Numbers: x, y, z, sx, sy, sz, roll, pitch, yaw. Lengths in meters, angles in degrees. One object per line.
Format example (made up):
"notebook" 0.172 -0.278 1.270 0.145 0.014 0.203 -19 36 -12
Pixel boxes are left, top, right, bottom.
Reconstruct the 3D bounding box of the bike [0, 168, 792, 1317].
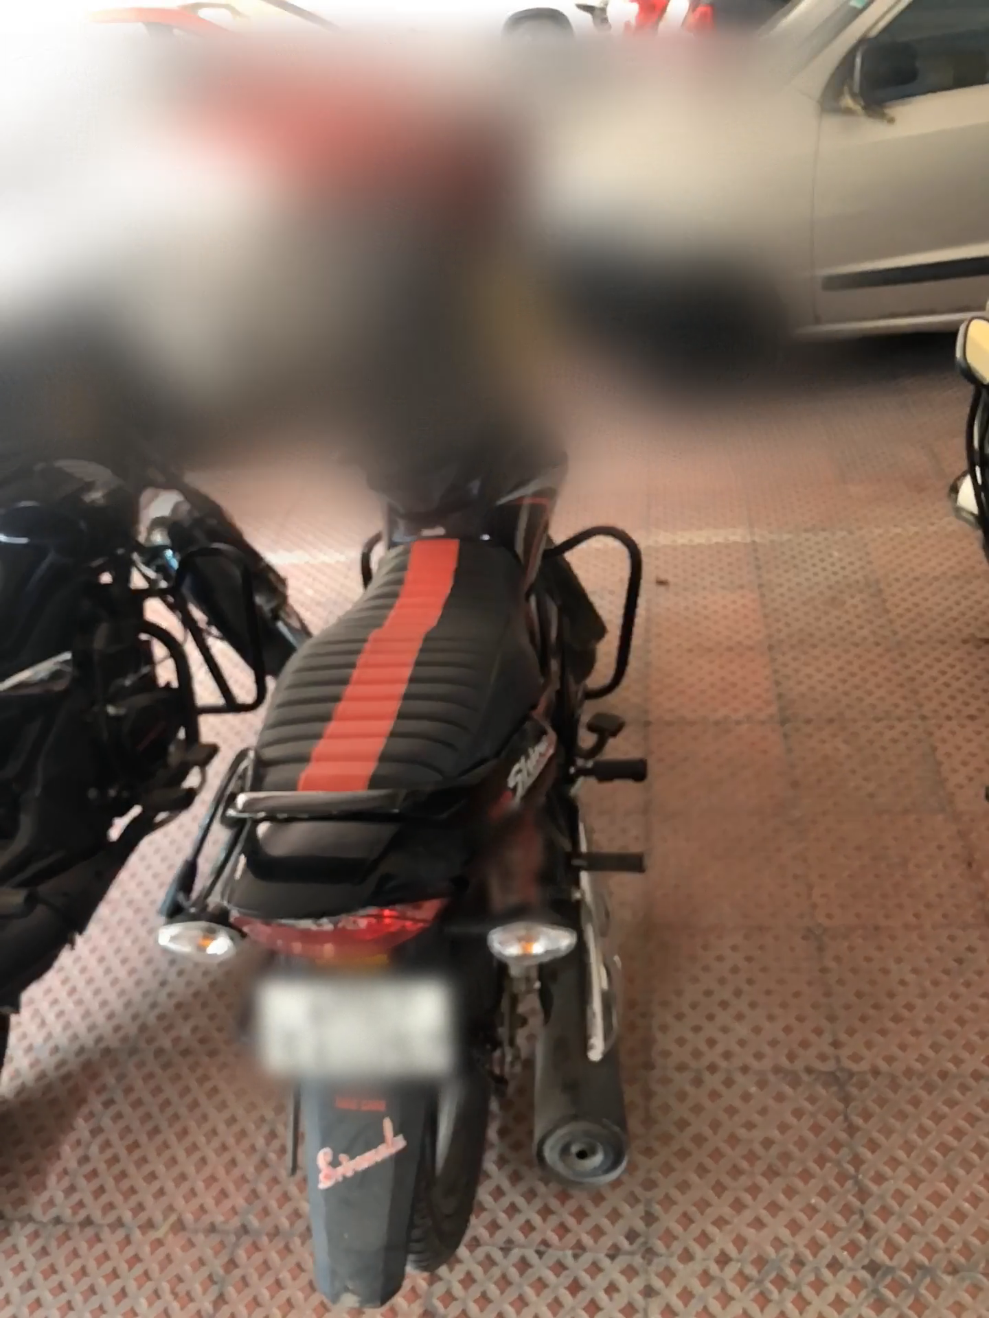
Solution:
"bike" -0.157 -0.041 1.723 0.746 1.010 1.562 -7 34 2
